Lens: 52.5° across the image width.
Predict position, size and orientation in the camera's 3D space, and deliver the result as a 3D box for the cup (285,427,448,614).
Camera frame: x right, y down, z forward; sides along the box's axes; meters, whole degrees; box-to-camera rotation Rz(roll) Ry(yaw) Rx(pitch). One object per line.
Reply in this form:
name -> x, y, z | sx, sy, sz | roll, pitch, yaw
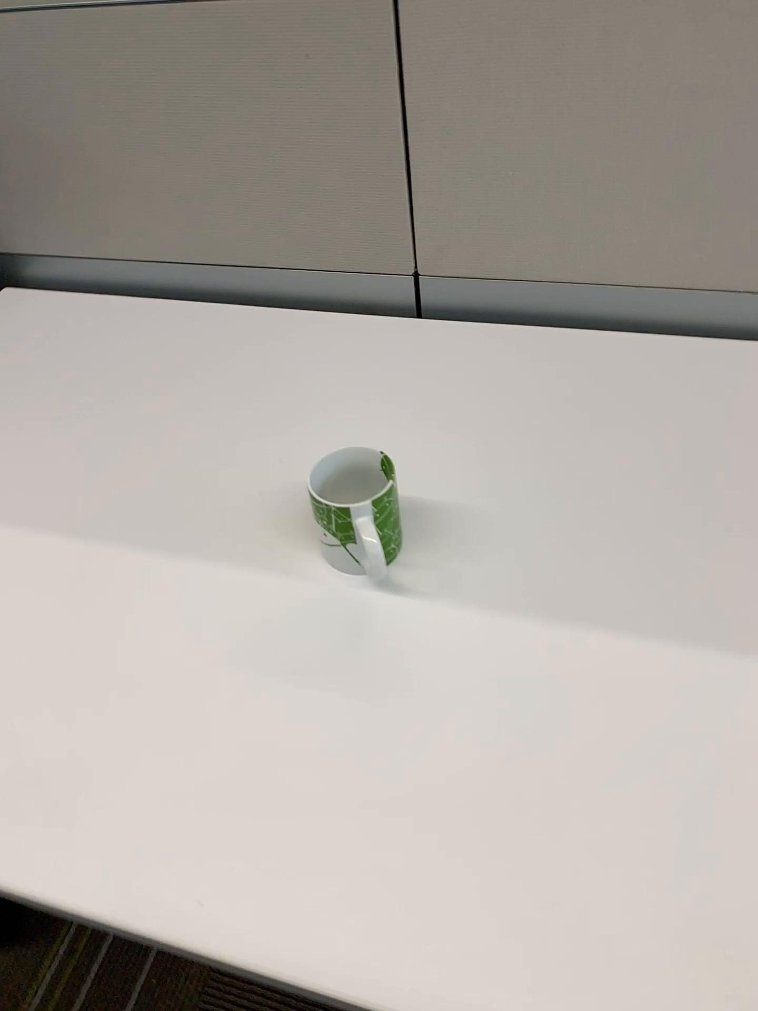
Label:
cup -> -0.012, 0.011, 0.730 | 0.090, 0.090, 0.131 | -28, 48, -19
